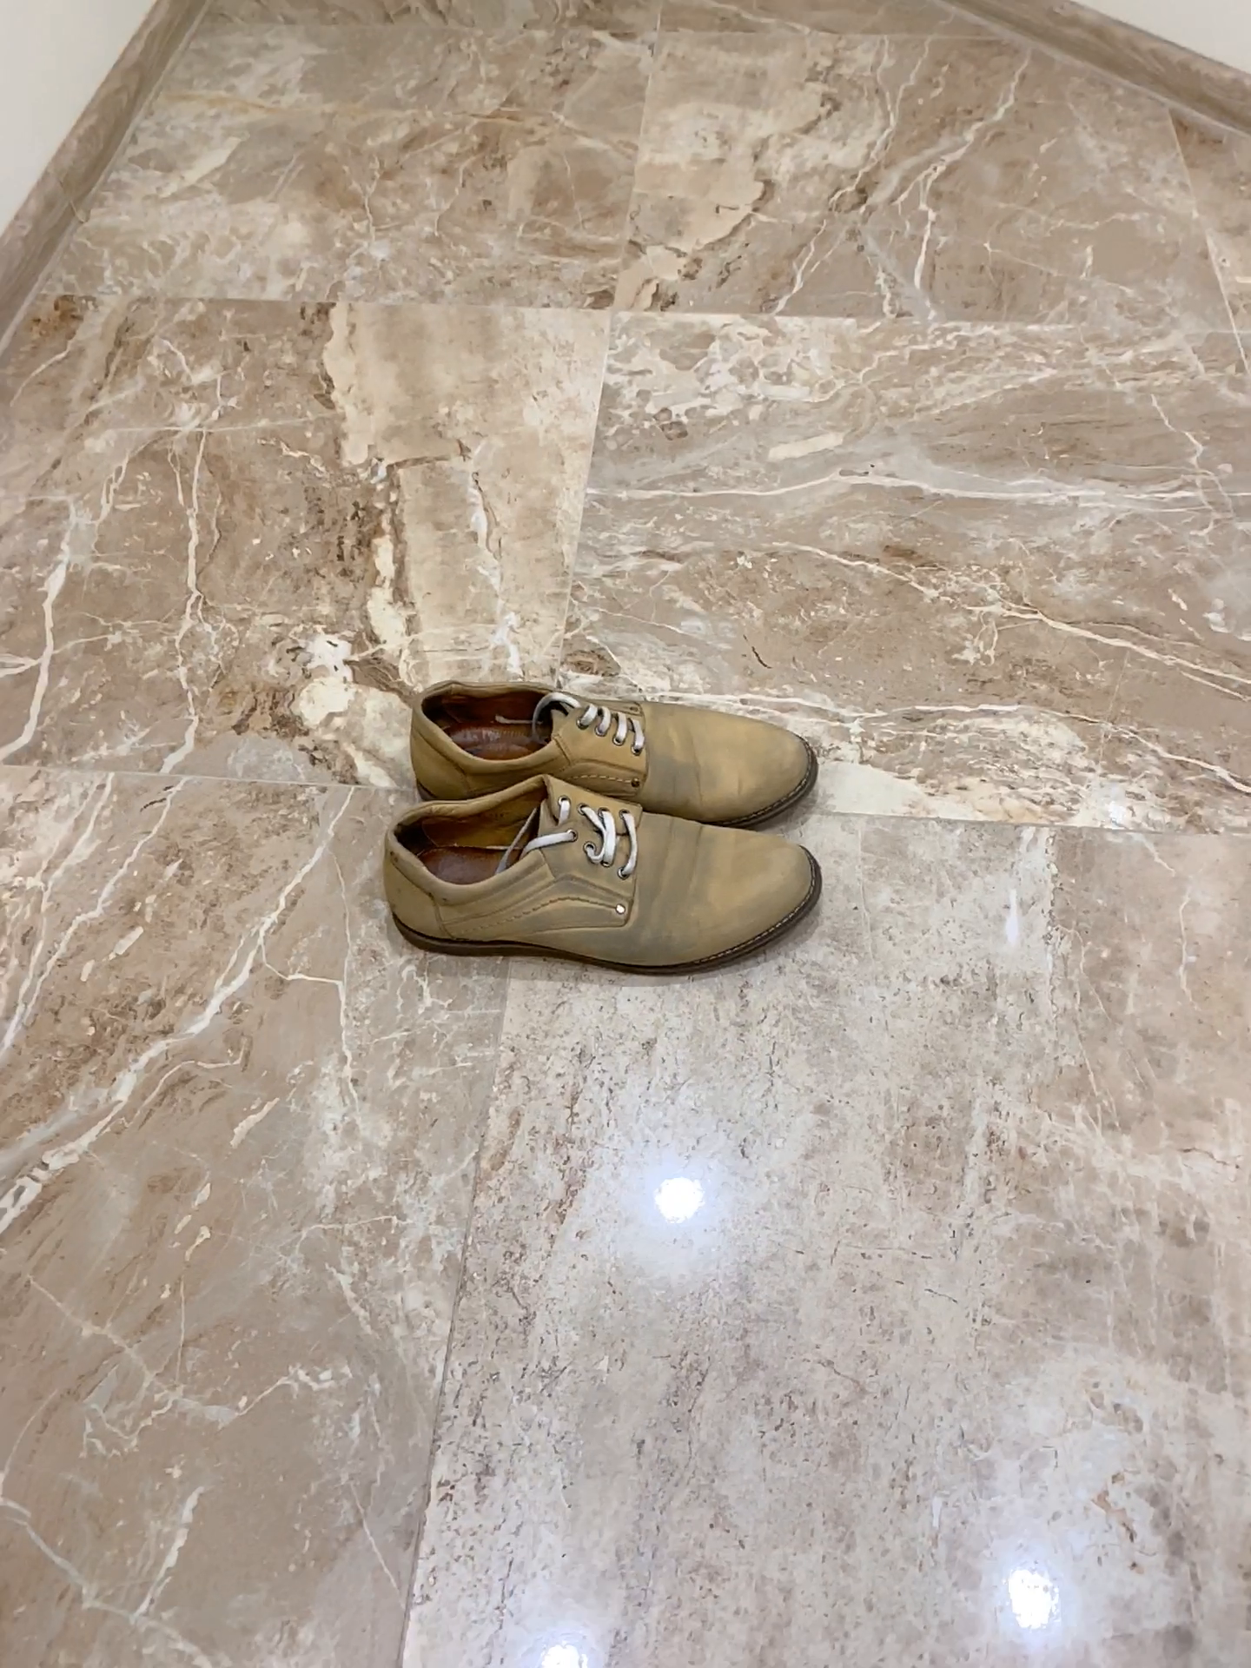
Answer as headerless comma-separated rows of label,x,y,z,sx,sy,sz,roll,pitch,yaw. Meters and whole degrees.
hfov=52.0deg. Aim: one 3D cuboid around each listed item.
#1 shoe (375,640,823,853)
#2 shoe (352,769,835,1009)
shoe,-0.014,-0.059,0.860,0.280,0.070,0.110,3,55,3
shoe,-0.016,0.034,0.803,0.280,0.080,0.110,3,55,3
